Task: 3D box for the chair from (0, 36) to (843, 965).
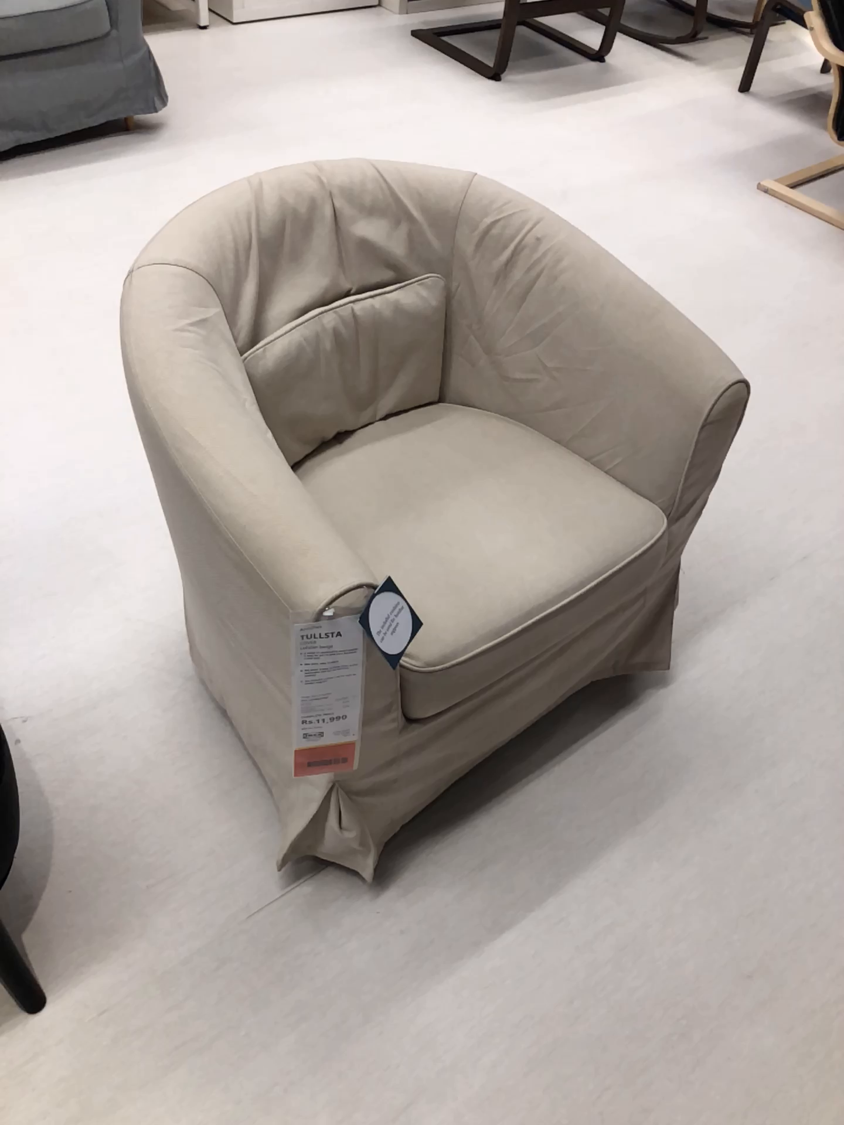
[{"bbox_3d":[0.033,-0.140,1.314,0.863,0.805,0.702,-29,56,-30],"label":"chair"}]
